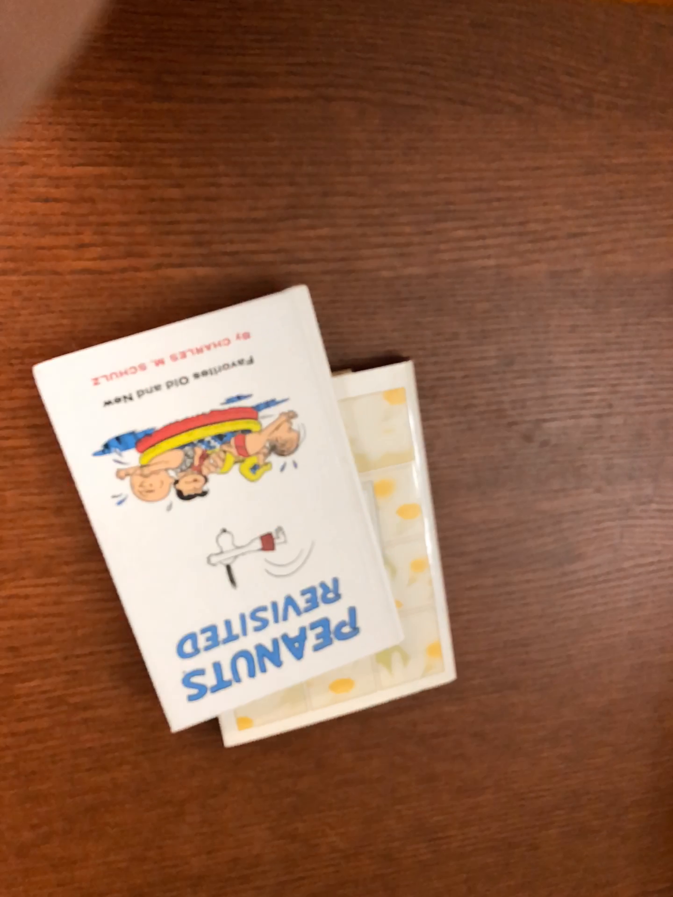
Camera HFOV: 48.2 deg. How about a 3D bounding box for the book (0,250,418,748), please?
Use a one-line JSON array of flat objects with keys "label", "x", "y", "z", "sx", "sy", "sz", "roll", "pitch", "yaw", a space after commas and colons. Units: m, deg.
[{"label": "book", "x": -0.063, "y": 0.028, "z": 0.381, "sx": 0.160, "sy": 0.020, "sz": 0.210, "roll": -21, "pitch": 106, "yaw": -10}]
